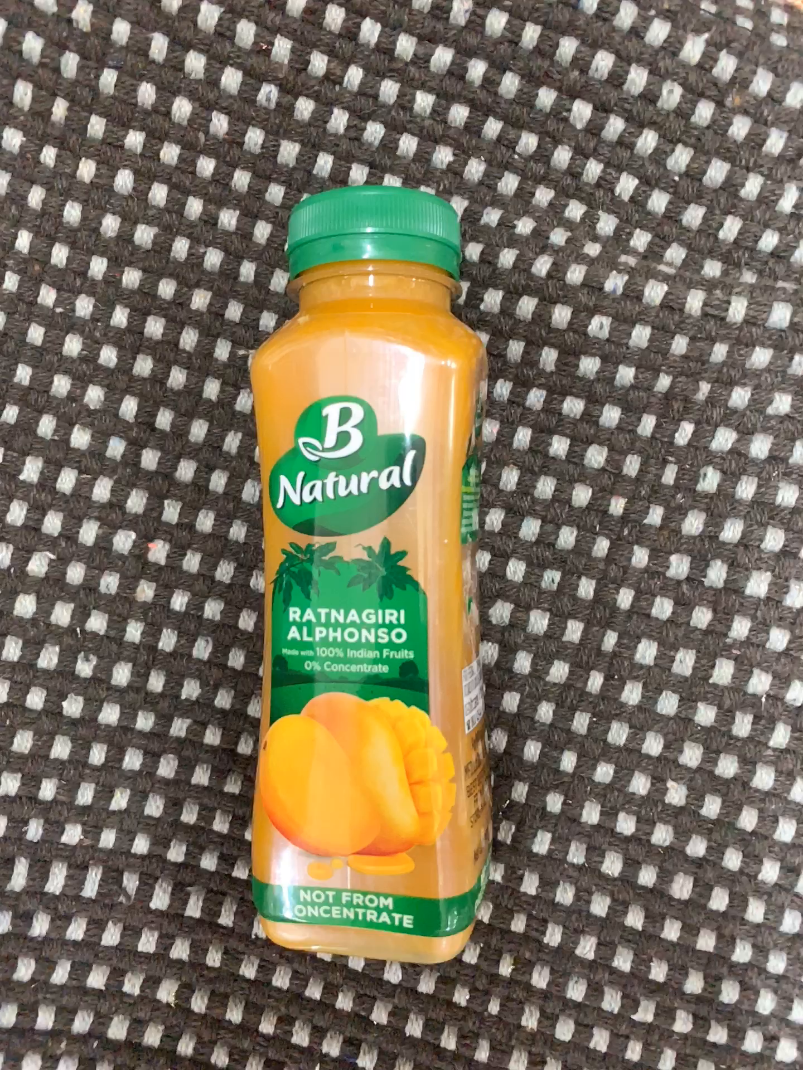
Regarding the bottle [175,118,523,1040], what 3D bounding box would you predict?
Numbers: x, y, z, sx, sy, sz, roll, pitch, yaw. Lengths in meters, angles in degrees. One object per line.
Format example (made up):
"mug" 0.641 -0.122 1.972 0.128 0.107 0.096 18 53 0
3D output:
"bottle" -0.007 0.008 0.173 0.060 0.050 0.160 1 94 9
